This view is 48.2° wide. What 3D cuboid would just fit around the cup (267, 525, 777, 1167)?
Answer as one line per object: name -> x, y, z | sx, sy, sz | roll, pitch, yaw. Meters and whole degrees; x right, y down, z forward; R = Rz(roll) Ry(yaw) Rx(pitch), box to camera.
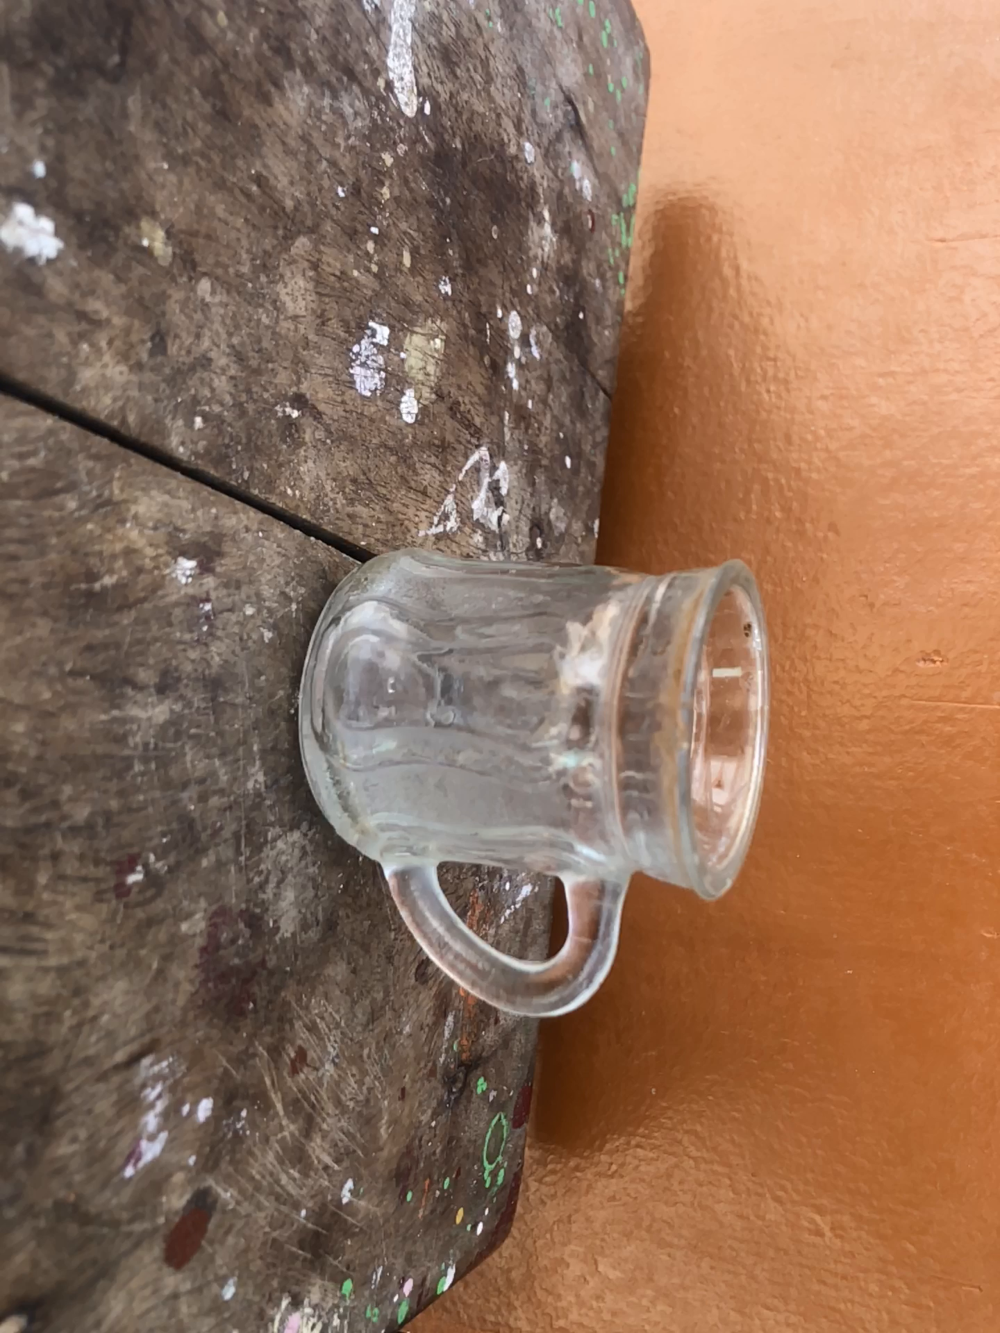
cup -> 0.006, 0.022, 0.174 | 0.050, 0.060, 0.080 | 10, 83, -67
